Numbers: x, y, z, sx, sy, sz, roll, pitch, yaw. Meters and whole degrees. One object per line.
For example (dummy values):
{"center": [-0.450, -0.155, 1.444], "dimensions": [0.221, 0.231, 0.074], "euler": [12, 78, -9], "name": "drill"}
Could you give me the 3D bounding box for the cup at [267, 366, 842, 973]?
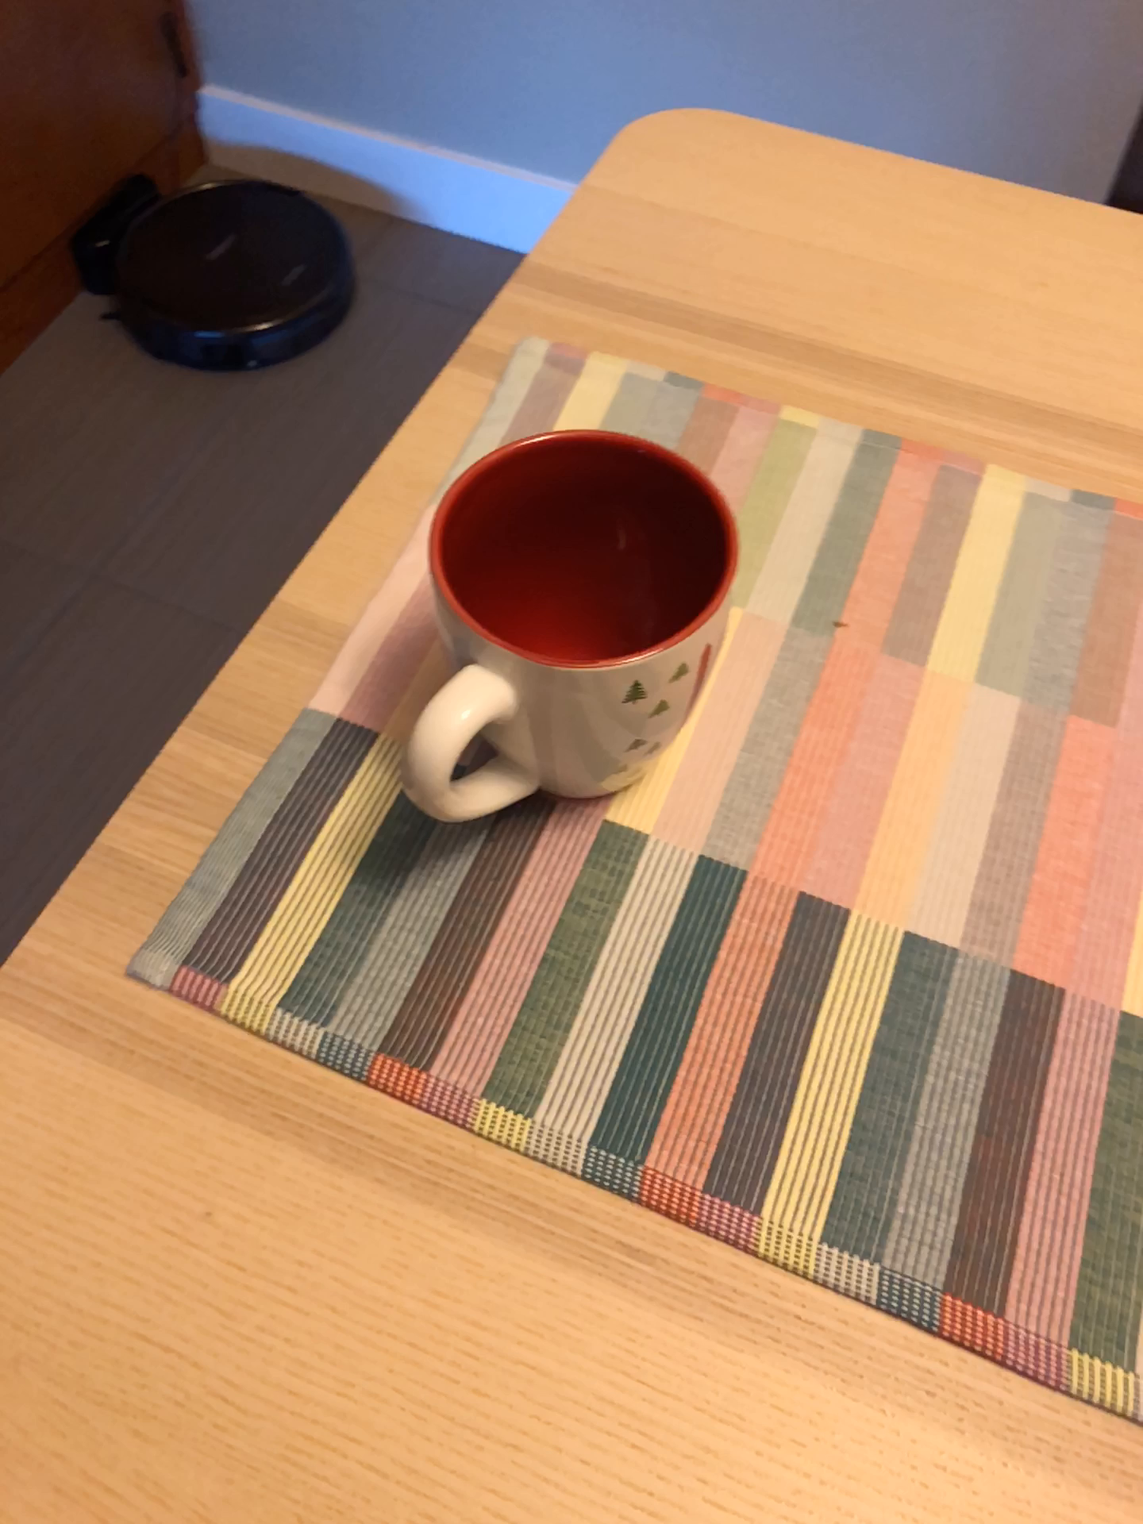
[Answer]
{"center": [-0.002, -0.032, 0.399], "dimensions": [0.100, 0.090, 0.140], "euler": [32, 62, 19], "name": "cup"}
